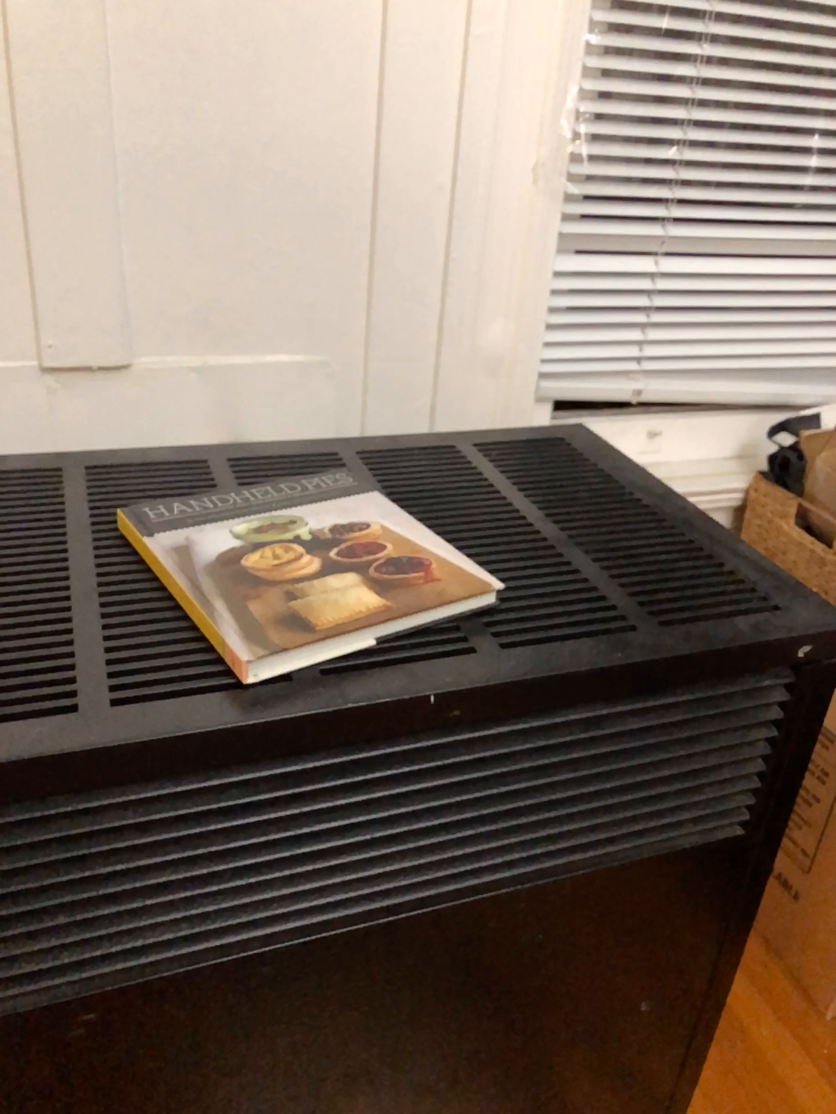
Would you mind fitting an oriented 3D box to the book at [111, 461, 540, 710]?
[{"bbox_3d":[-0.070,0.002,0.624,0.200,0.020,0.231,-15,34,-31],"label":"book"}]
